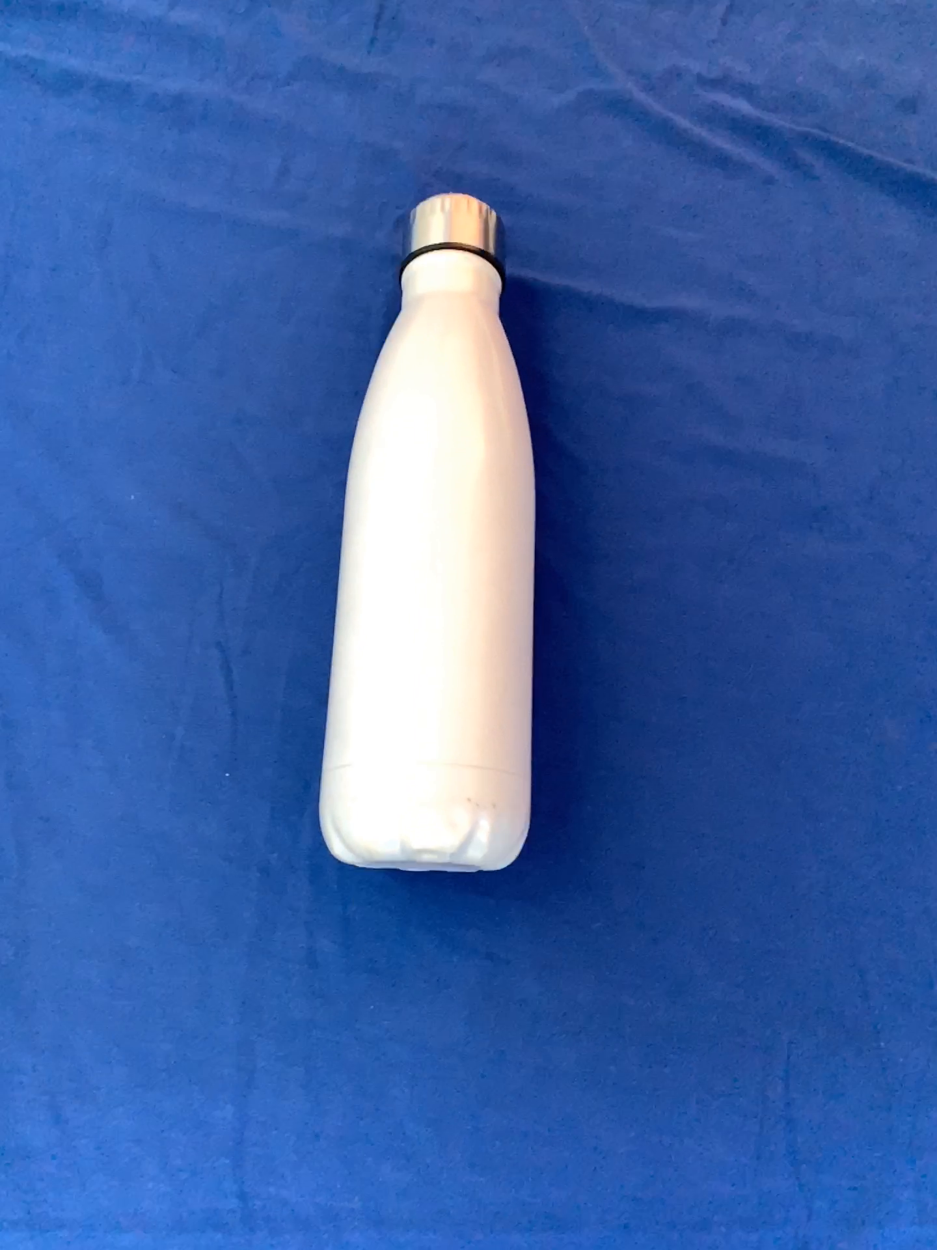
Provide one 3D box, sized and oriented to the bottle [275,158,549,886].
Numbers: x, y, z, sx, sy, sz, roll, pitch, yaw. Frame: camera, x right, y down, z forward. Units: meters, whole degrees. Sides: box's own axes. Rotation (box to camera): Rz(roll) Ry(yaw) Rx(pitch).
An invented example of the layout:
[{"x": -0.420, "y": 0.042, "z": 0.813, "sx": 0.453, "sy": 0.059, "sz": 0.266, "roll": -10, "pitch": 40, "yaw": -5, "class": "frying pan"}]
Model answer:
[{"x": -0.014, "y": -0.043, "z": 0.345, "sx": 0.080, "sy": 0.050, "sz": 0.260, "roll": 2, "pitch": 72, "yaw": -1, "class": "bottle"}]
